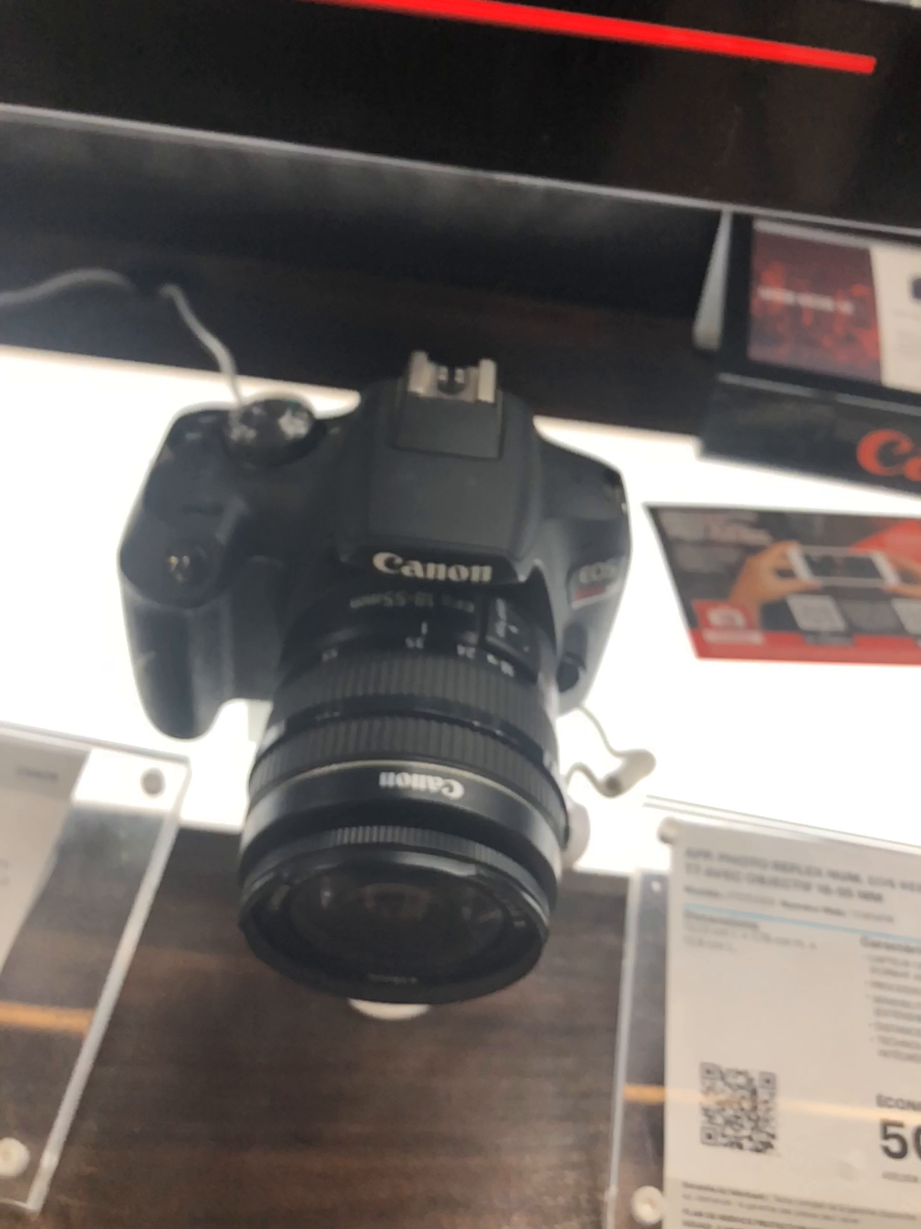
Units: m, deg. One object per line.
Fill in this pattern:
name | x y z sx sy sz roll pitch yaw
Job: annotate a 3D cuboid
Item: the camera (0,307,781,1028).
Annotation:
camera | -0.018 0.009 0.232 0.128 0.099 0.112 6 40 -3
